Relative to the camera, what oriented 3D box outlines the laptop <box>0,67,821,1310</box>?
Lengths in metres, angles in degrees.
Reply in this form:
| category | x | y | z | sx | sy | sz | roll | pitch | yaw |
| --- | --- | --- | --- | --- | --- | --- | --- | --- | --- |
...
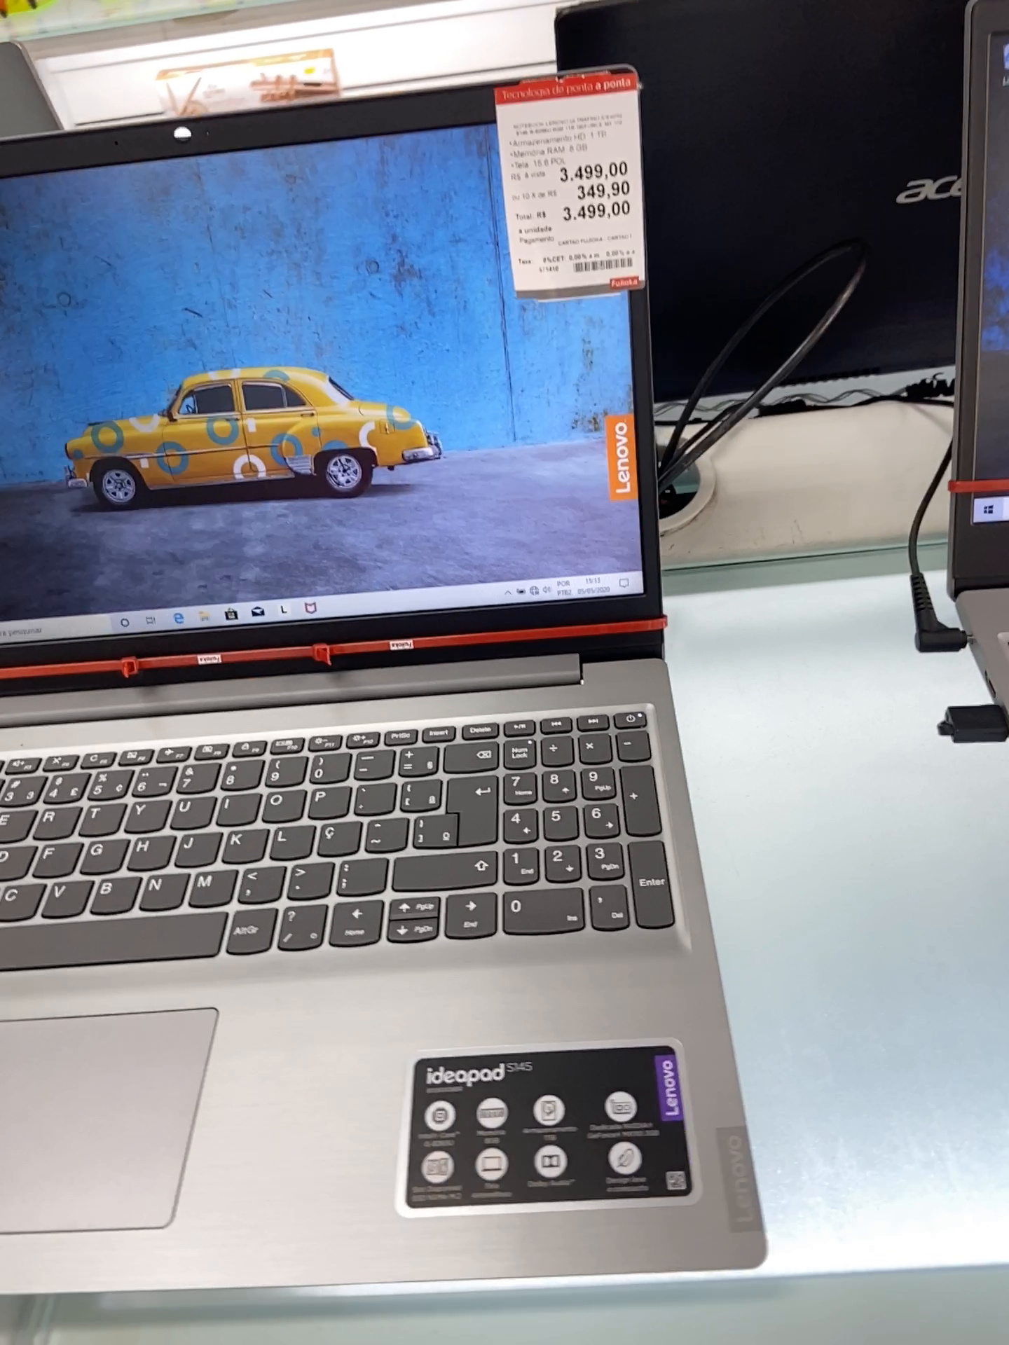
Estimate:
| category | x | y | z | sx | sy | sz | roll | pitch | yaw |
| --- | --- | --- | --- | --- | --- | --- | --- | --- | --- |
| laptop | -0.121 | -0.021 | 0.359 | 0.364 | 0.215 | 0.353 | -5 | 43 | 5 |
